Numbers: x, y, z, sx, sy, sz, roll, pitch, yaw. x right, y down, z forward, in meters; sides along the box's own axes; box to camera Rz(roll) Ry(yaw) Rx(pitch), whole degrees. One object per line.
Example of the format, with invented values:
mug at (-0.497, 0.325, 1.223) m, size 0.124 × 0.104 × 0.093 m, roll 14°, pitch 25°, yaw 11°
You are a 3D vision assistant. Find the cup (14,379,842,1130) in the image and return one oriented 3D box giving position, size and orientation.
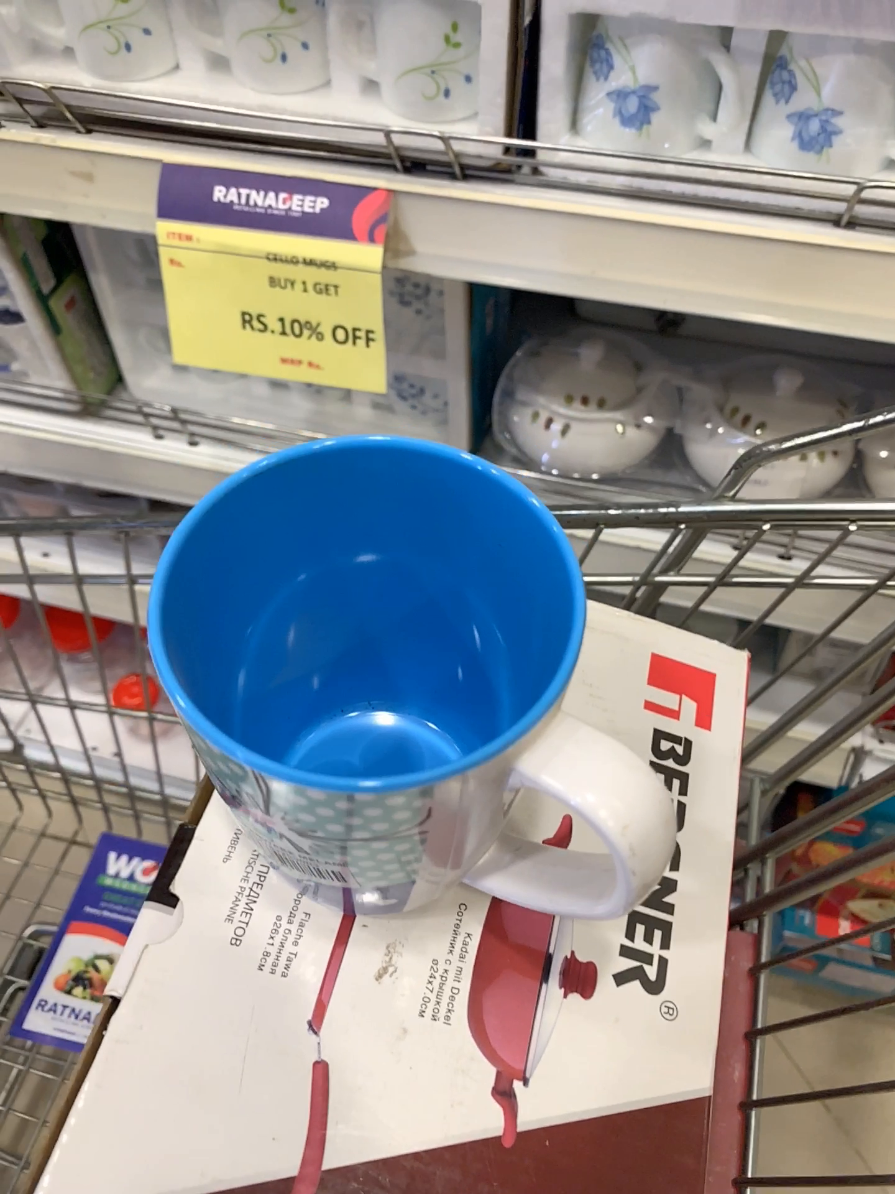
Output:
cup at (-0.003, 0.036, 0.203) m, size 0.120 × 0.100 × 0.080 m, roll 26°, pitch 58°, yaw 16°
